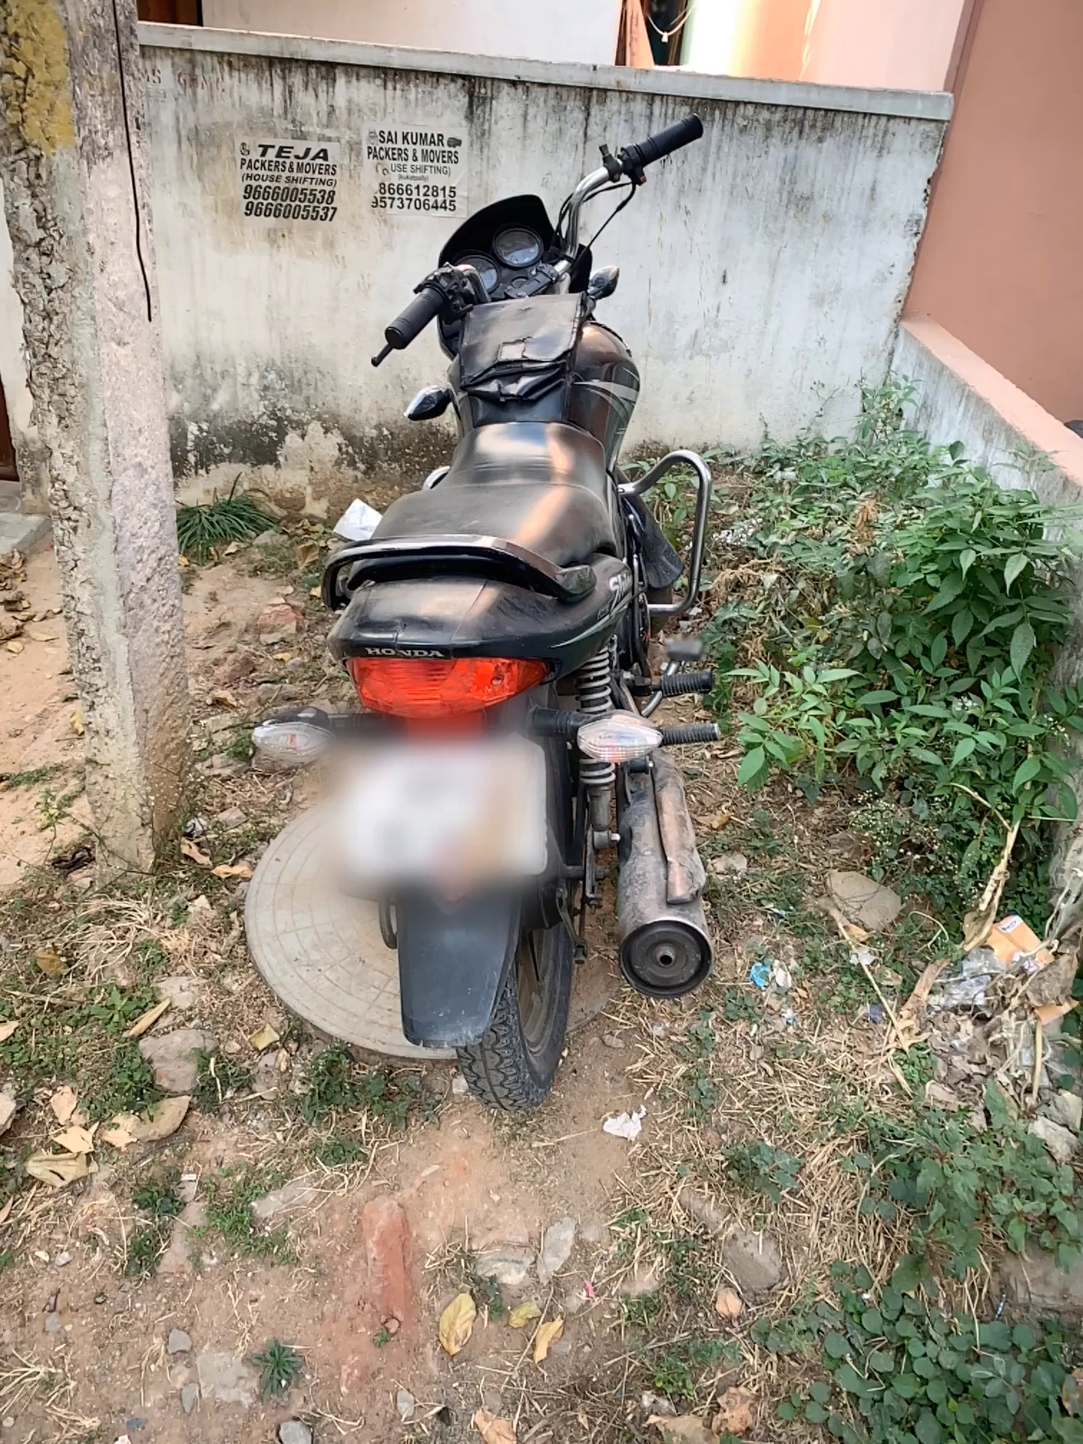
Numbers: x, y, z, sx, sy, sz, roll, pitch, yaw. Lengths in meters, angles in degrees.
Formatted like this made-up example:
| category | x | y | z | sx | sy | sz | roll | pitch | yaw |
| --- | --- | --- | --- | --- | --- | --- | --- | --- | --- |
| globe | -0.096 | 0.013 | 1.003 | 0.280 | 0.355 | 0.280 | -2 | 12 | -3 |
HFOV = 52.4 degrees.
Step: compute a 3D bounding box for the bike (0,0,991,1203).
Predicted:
| category | x | y | z | sx | sy | sz | roll | pitch | yaw |
| --- | --- | --- | --- | --- | --- | --- | --- | --- | --- |
| bike | -0.054 | -0.361 | 1.501 | 0.734 | 1.101 | 1.246 | 5 | 41 | -2 |
